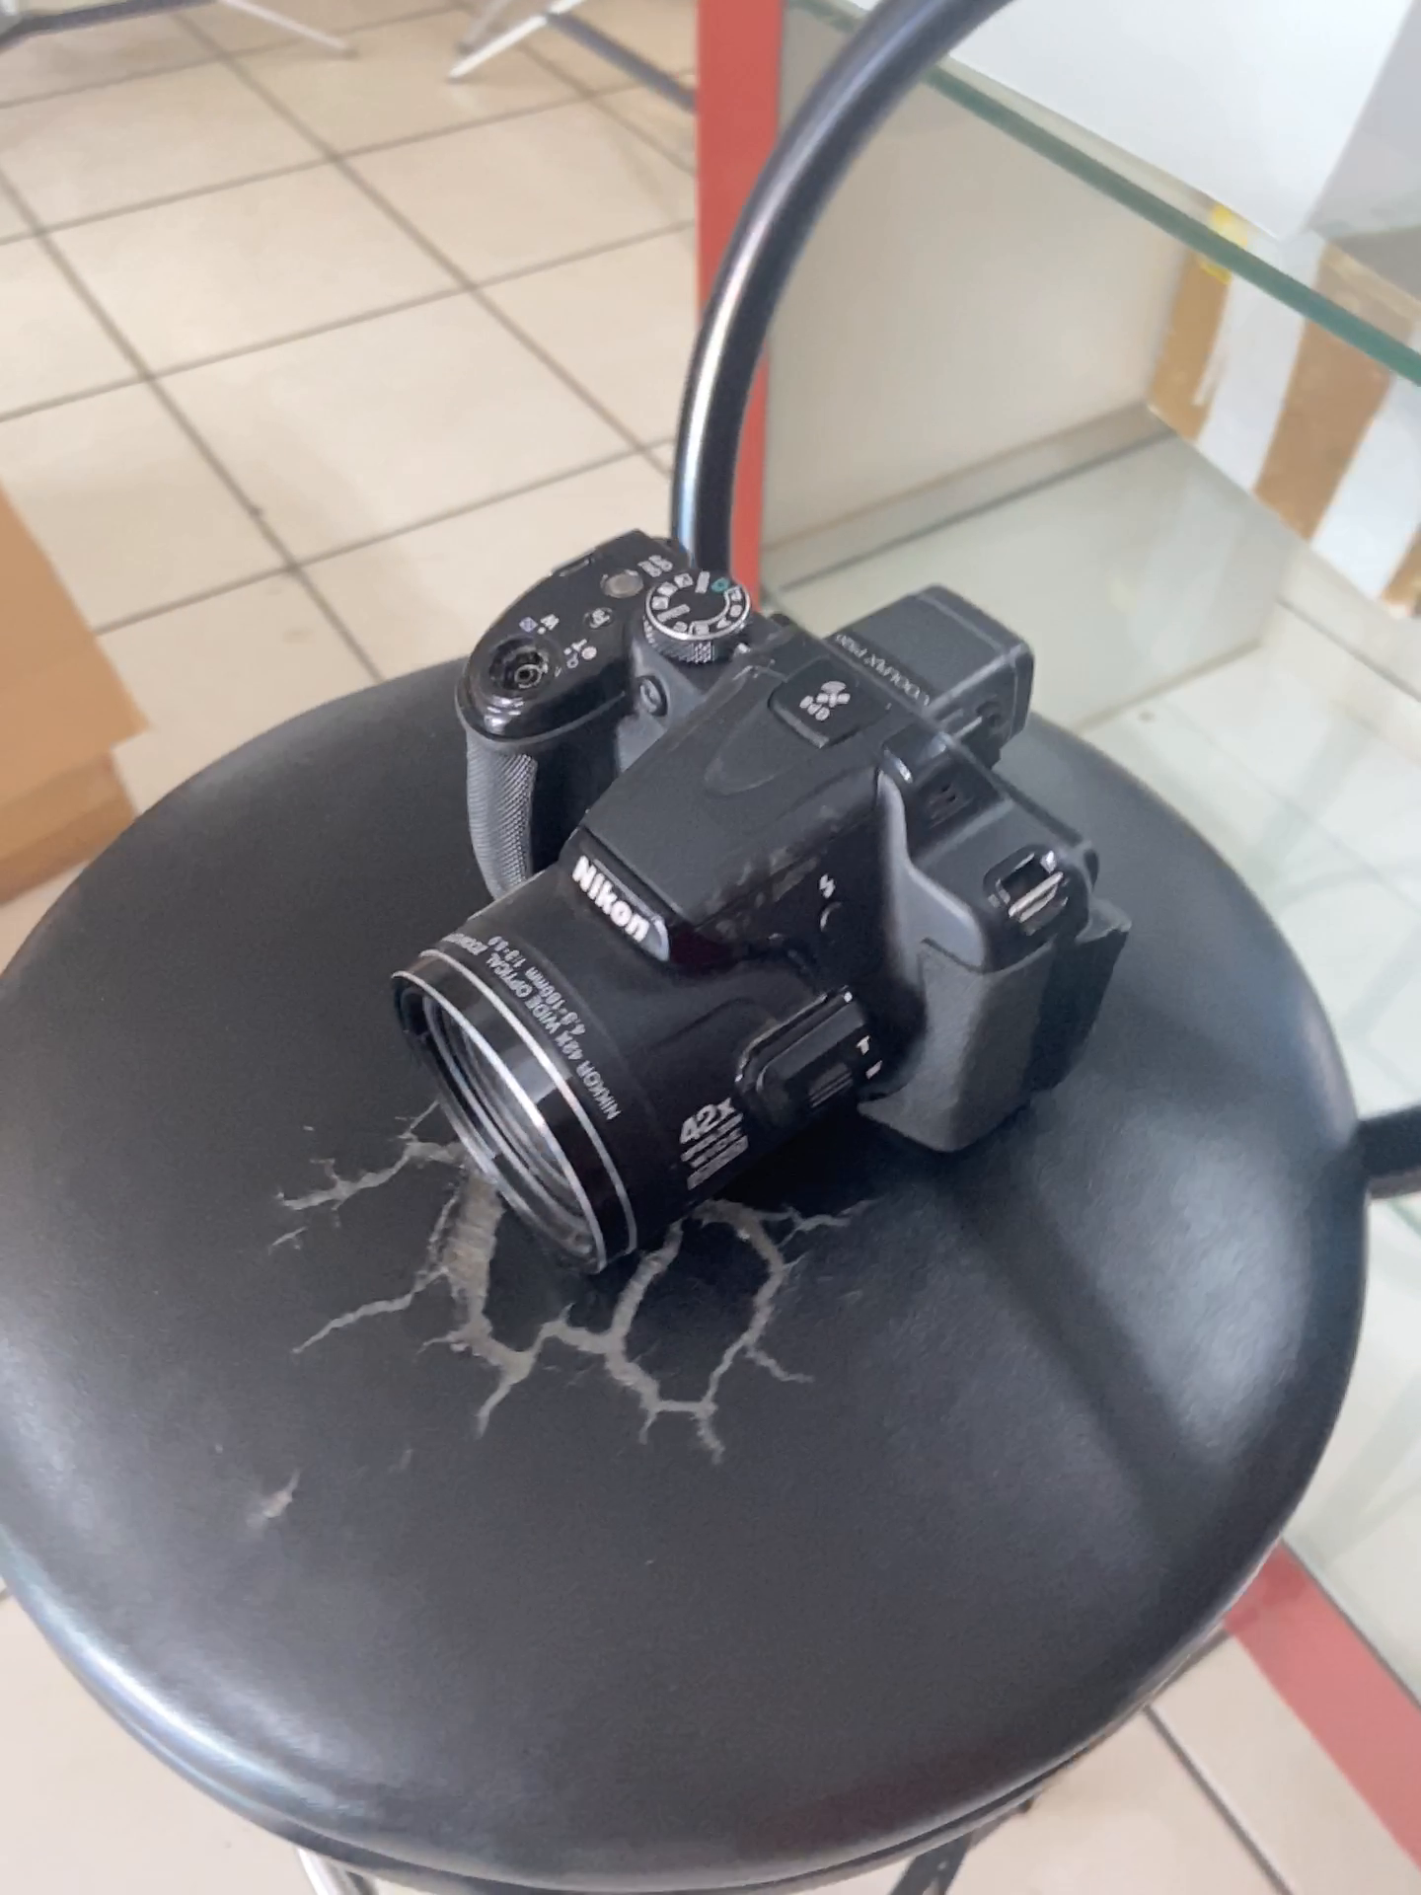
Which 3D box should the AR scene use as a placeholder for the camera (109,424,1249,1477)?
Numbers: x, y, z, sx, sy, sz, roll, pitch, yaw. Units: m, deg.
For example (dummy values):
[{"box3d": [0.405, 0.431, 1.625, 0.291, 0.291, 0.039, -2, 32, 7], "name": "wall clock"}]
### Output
[{"box3d": [-0.007, -0.010, 0.254, 0.120, 0.070, 0.130, -33, 58, -25], "name": "camera"}]
